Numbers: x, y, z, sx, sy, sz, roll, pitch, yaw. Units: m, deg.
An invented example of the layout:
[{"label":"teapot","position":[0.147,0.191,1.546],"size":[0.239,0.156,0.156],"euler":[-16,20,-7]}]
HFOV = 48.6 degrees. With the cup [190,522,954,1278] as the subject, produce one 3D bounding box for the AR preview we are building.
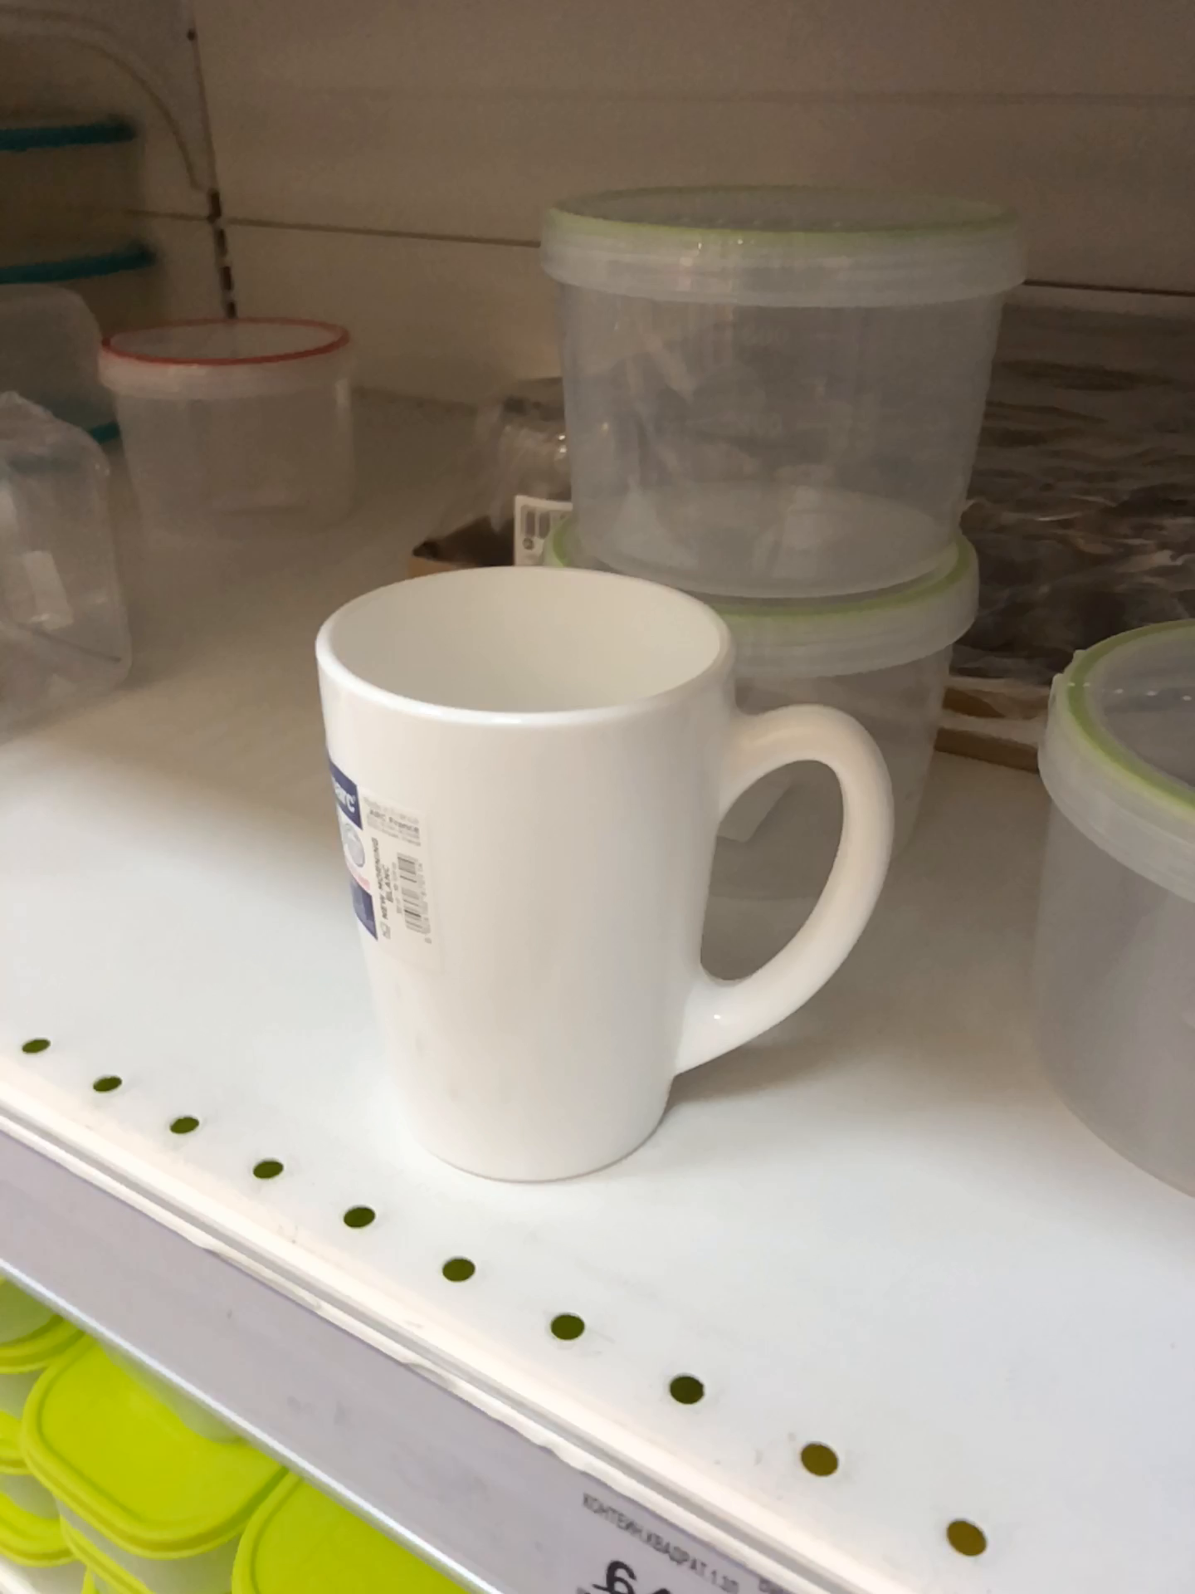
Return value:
[{"label":"cup","position":[0.000,0.014,0.270],"size":[0.120,0.107,0.079],"euler":[10,31,18]}]
